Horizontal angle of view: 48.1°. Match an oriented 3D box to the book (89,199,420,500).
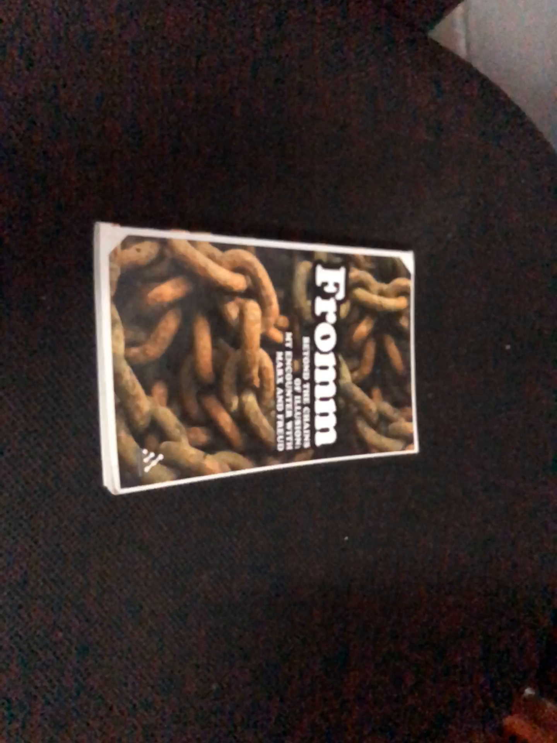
[{"bbox_3d":[-0.004,-0.011,0.350,0.195,0.016,0.144,0,87,-28],"label":"book"}]
